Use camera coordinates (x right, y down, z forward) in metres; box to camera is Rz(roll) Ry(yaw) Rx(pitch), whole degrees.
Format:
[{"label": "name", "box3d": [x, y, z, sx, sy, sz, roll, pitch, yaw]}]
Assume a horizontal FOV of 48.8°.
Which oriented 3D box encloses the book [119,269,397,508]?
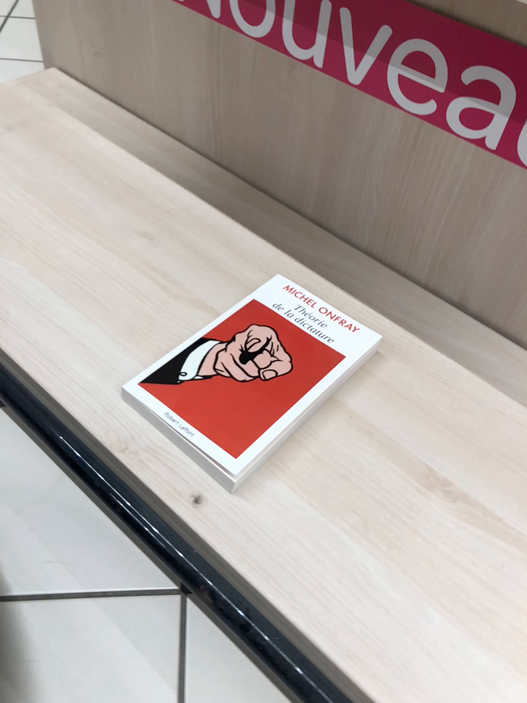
[{"label": "book", "box3d": [0.001, 0.017, 0.512, 0.138, 0.029, 0.208, 36, 53, 22]}]
